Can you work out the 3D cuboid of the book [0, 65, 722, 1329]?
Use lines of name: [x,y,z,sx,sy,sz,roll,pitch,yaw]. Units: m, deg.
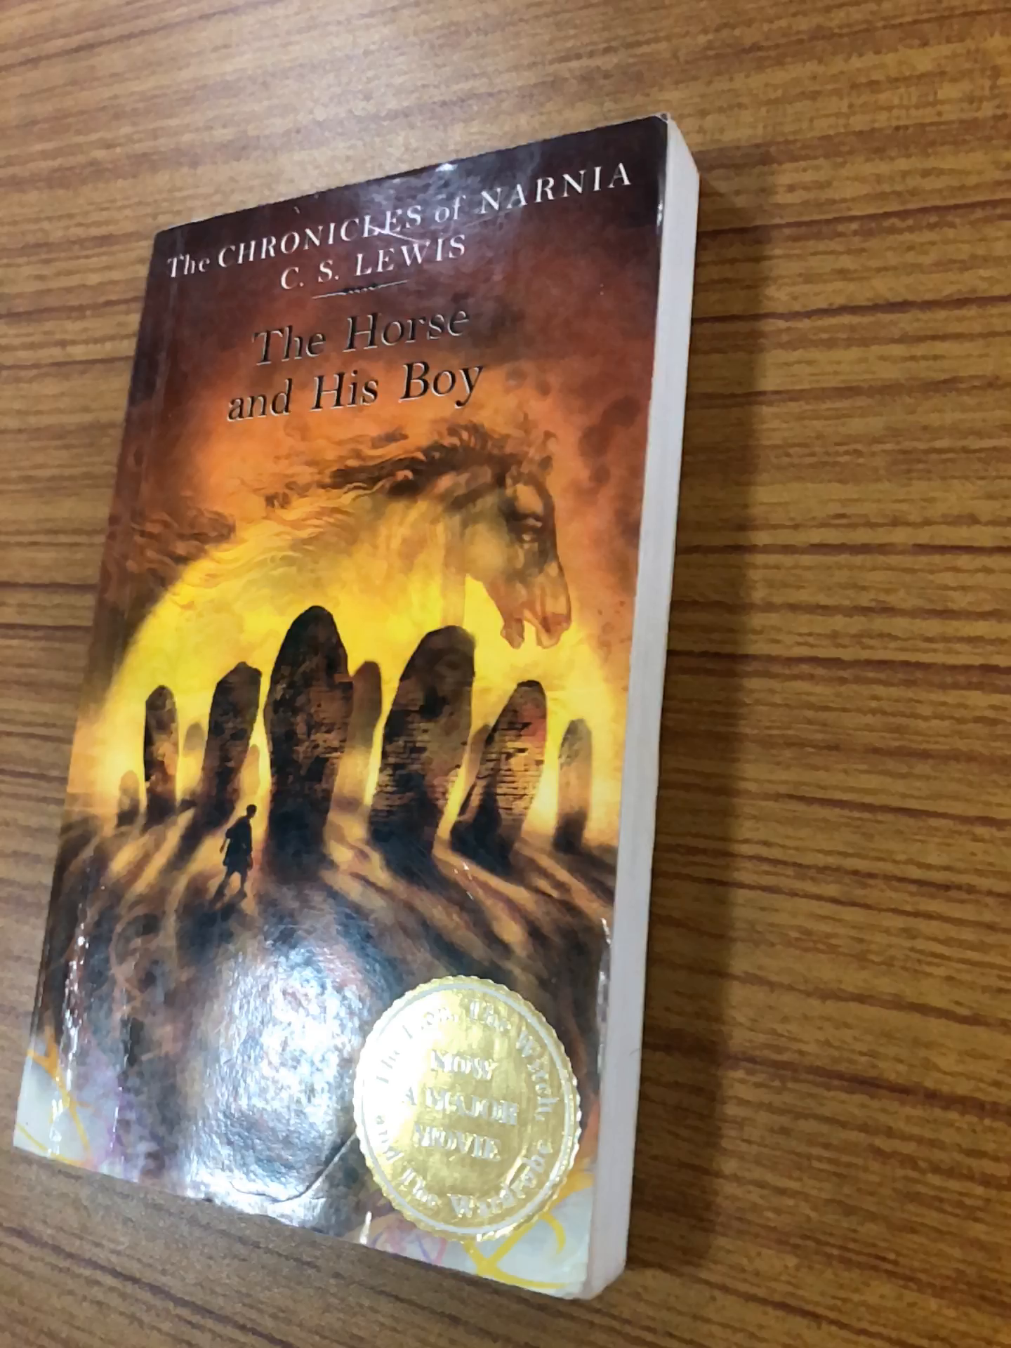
book: [-0.030,-0.003,0.196,0.121,0.020,0.180,1,80,26]
